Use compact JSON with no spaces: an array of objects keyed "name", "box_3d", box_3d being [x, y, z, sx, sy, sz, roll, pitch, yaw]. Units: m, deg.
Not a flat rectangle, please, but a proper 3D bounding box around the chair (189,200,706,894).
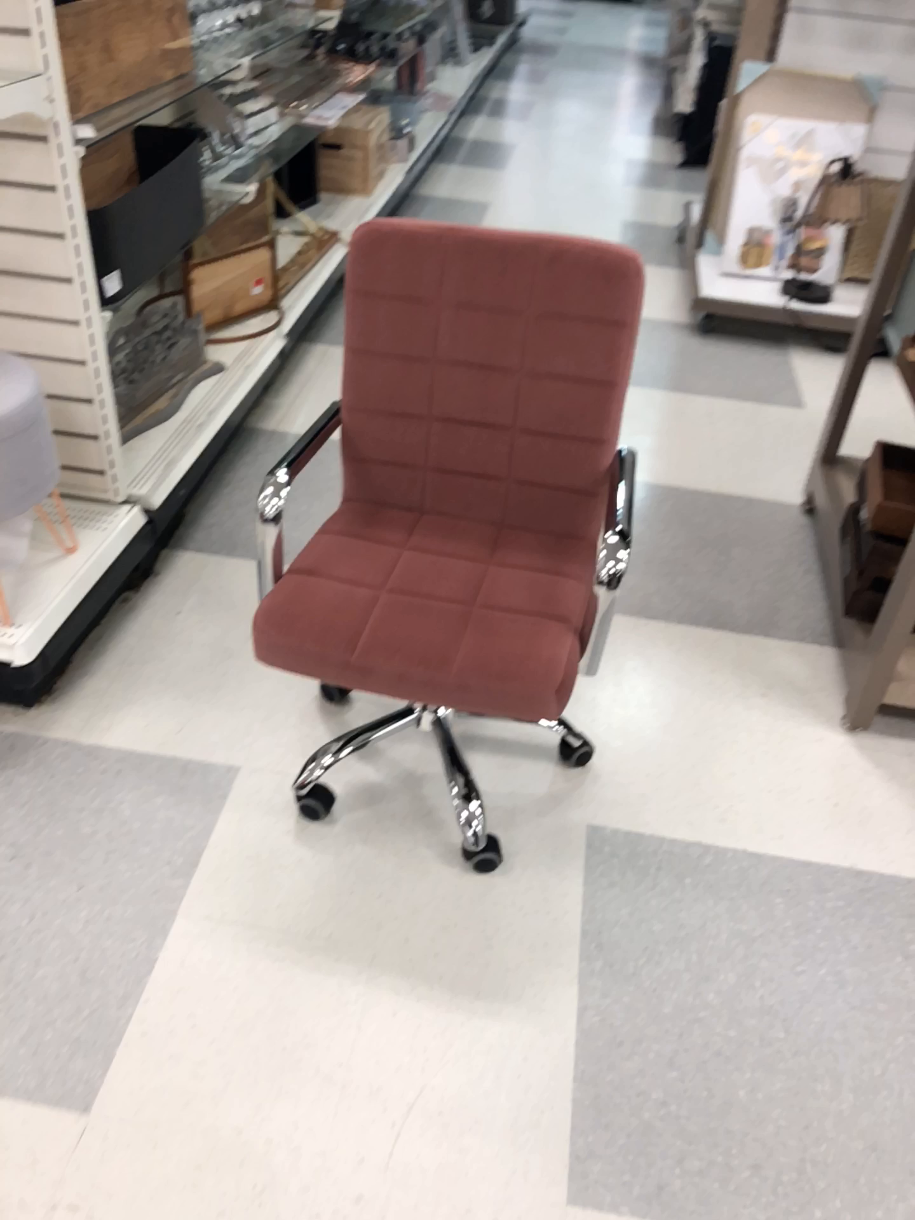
[{"name":"chair","box_3d":[0.004,-0.102,1.562,0.574,0.819,0.565,10,37,6]}]
